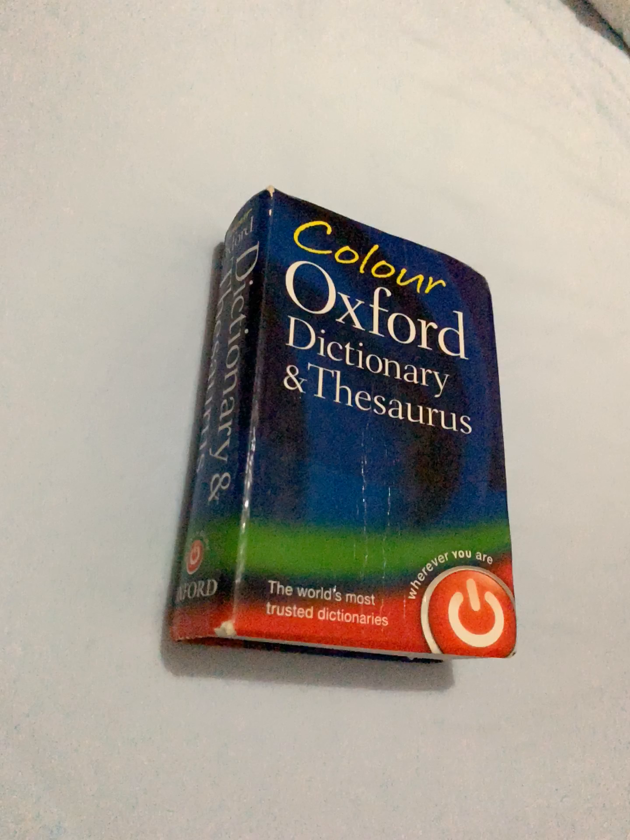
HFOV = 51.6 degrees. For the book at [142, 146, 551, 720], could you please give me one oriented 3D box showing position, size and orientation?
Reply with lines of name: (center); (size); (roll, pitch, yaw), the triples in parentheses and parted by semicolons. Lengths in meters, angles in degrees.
book: (0.016, 0.005, 0.234); (0.120, 0.040, 0.181); (12, 67, -20)
